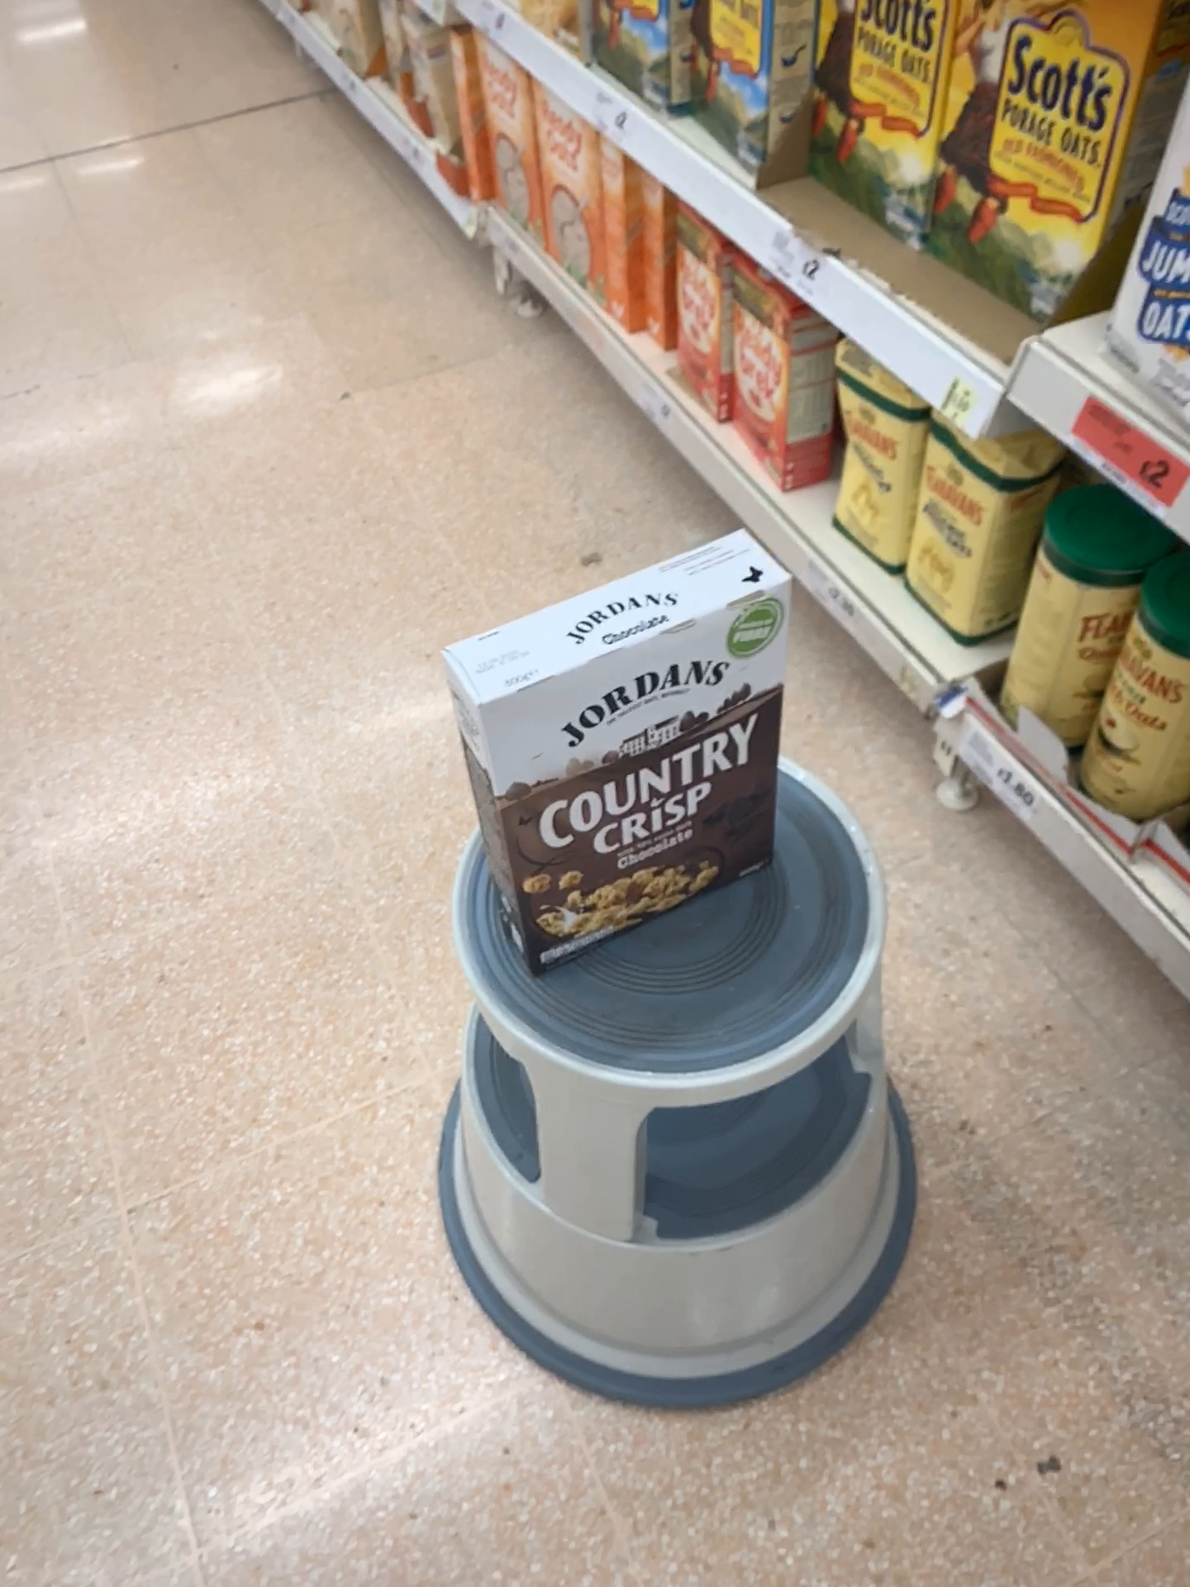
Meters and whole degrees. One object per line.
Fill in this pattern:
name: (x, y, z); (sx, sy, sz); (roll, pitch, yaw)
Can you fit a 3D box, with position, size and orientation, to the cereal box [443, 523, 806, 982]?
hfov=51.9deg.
cereal box: (0.023, -0.013, 0.707); (0.180, 0.248, 0.050); (-24, 53, -15)
